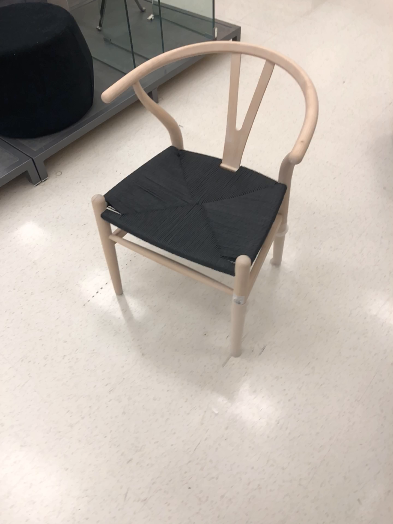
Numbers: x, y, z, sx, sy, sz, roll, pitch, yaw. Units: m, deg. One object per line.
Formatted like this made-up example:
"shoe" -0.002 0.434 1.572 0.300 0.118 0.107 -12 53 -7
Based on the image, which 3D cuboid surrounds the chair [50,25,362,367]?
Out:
"chair" 0.052 -0.189 1.347 0.559 0.728 0.557 25 57 20
